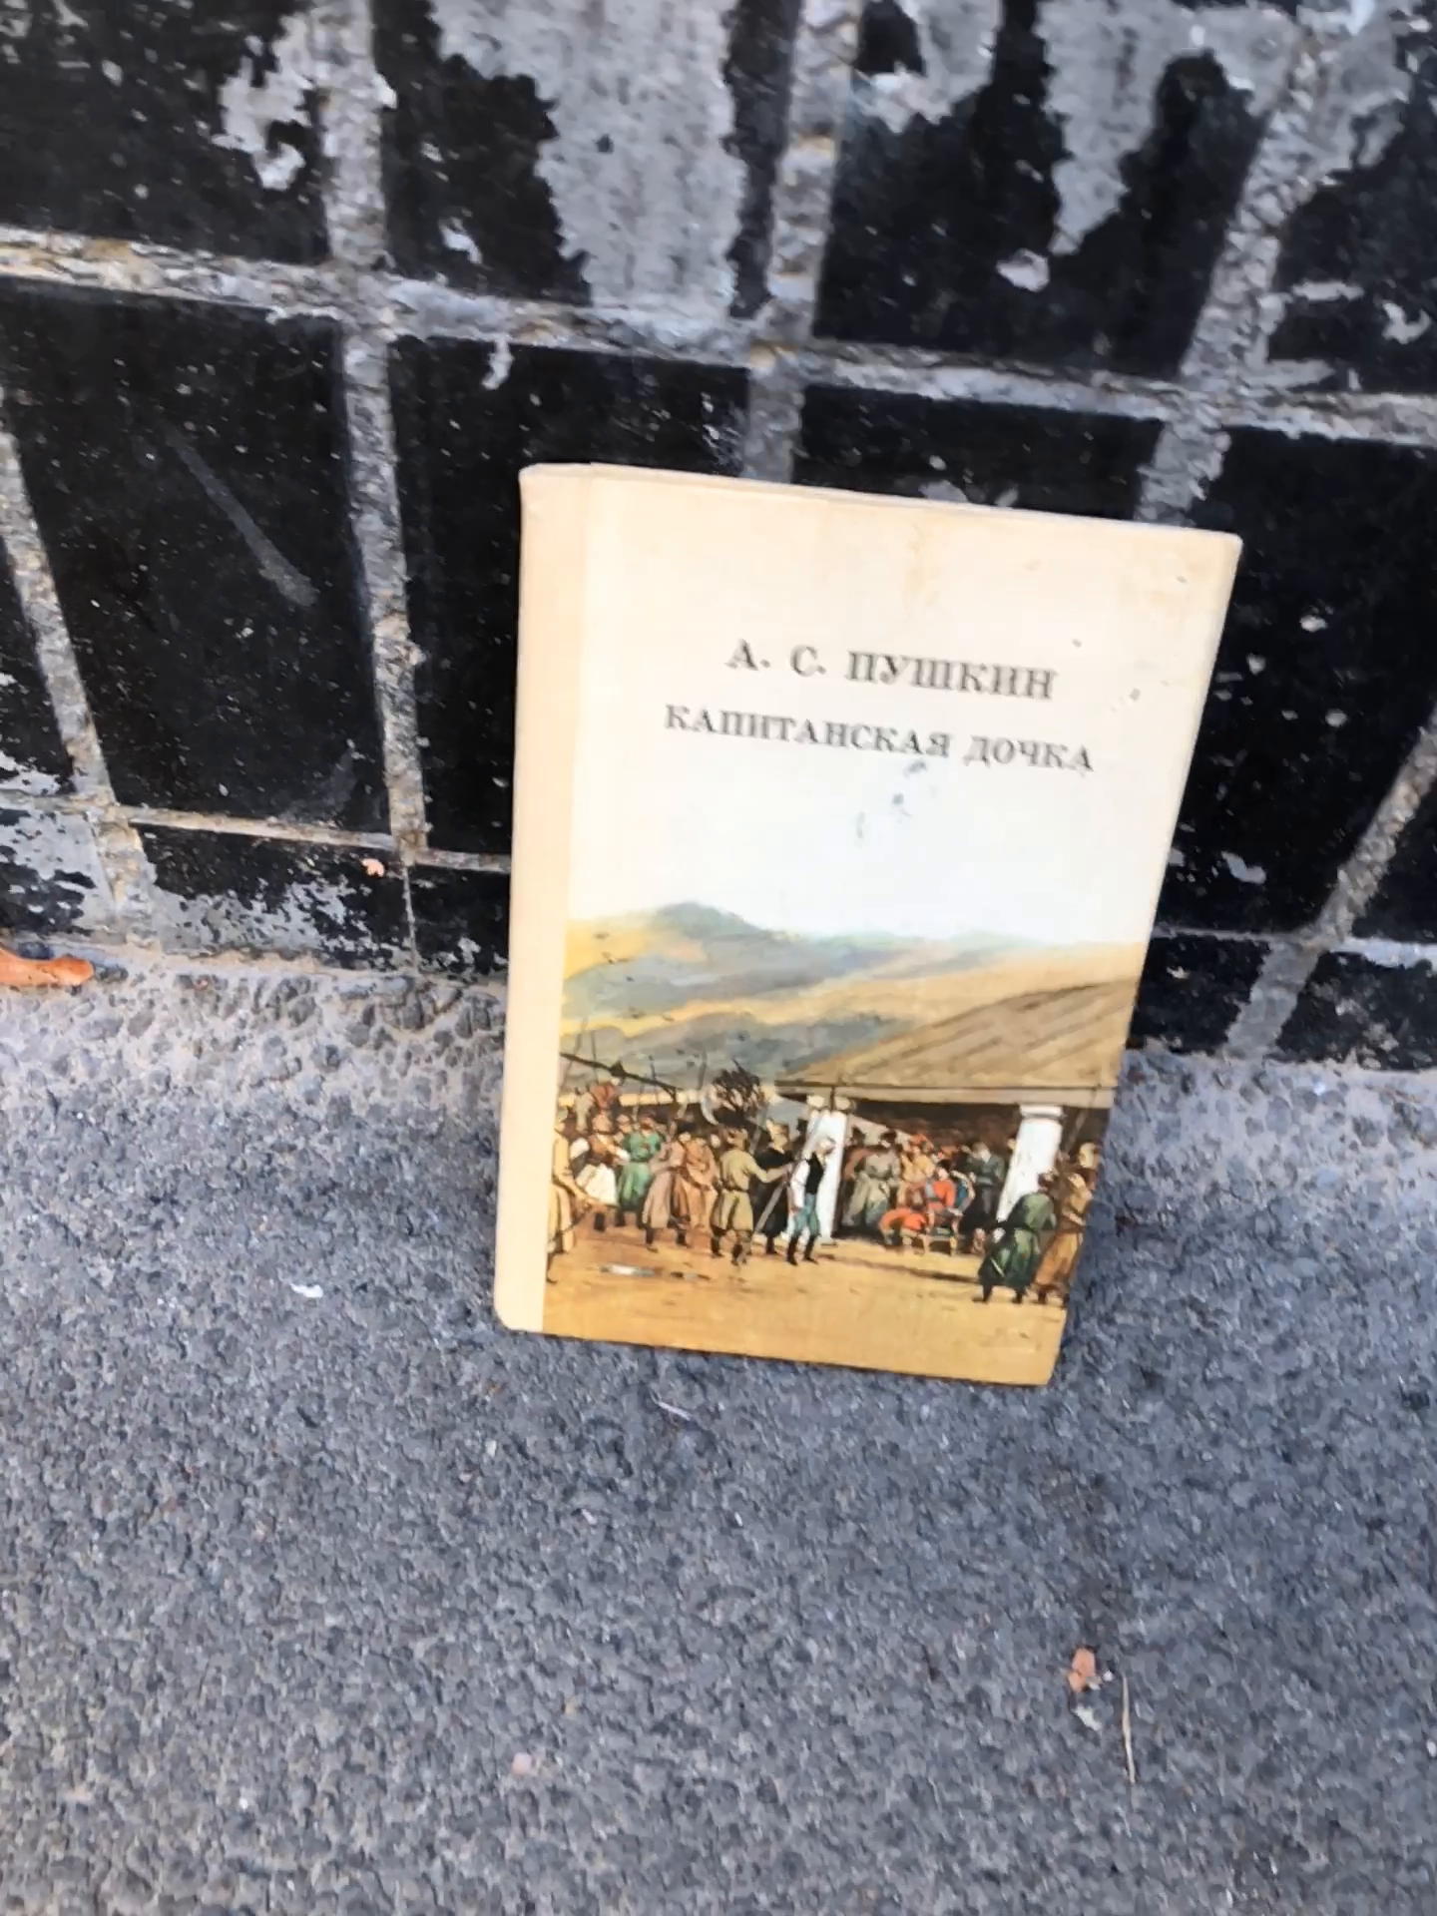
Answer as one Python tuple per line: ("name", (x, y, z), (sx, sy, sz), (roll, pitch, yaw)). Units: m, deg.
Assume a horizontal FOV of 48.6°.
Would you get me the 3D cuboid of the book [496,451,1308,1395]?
("book", (0.030, 0.004, 0.367), (0.150, 0.214, 0.020), (6, 26, -1))
